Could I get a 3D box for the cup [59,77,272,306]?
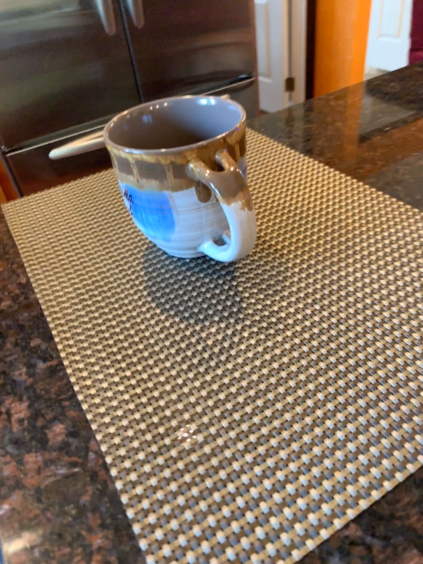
[{"bbox_3d":[-0.038,-0.077,0.322,0.100,0.089,0.151,-21,41,-14],"label":"cup"}]
